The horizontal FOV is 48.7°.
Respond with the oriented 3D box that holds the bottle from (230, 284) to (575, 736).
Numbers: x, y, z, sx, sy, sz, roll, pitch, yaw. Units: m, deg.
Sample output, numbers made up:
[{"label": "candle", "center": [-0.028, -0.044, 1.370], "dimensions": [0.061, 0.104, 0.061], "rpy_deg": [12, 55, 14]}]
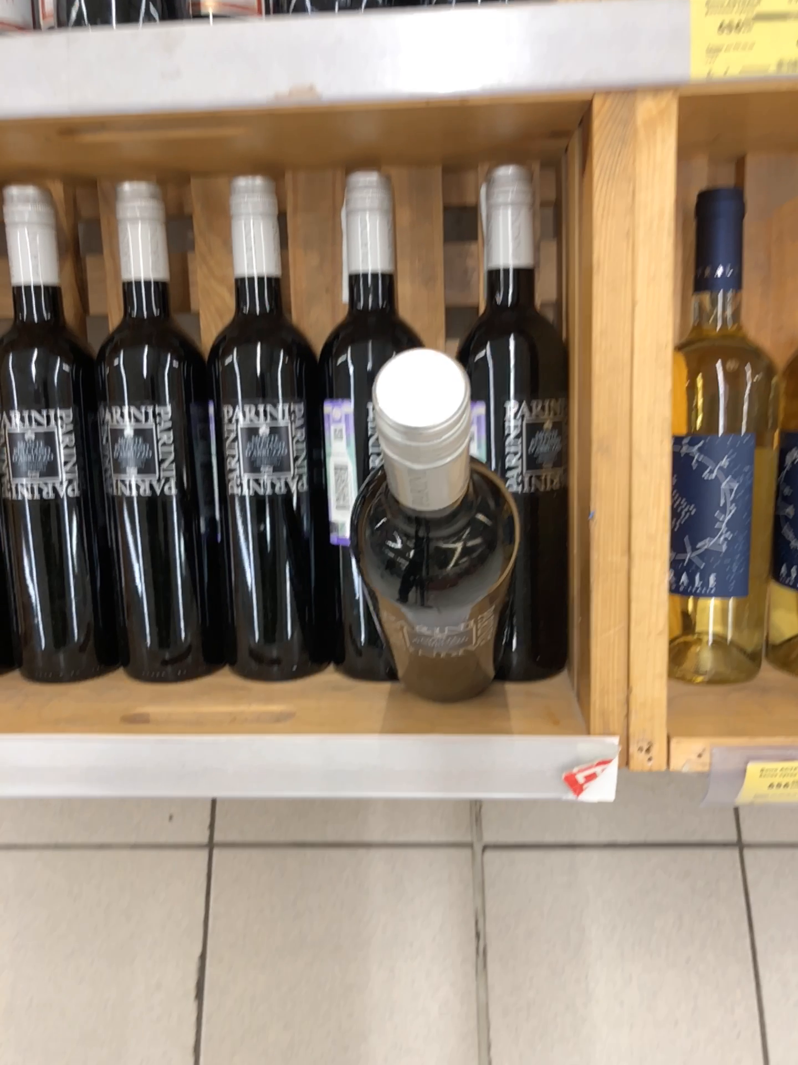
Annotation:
[{"label": "bottle", "center": [0.011, 0.018, 0.389], "dimensions": [0.090, 0.279, 0.080], "rpy_deg": [8, 68, 7]}]
